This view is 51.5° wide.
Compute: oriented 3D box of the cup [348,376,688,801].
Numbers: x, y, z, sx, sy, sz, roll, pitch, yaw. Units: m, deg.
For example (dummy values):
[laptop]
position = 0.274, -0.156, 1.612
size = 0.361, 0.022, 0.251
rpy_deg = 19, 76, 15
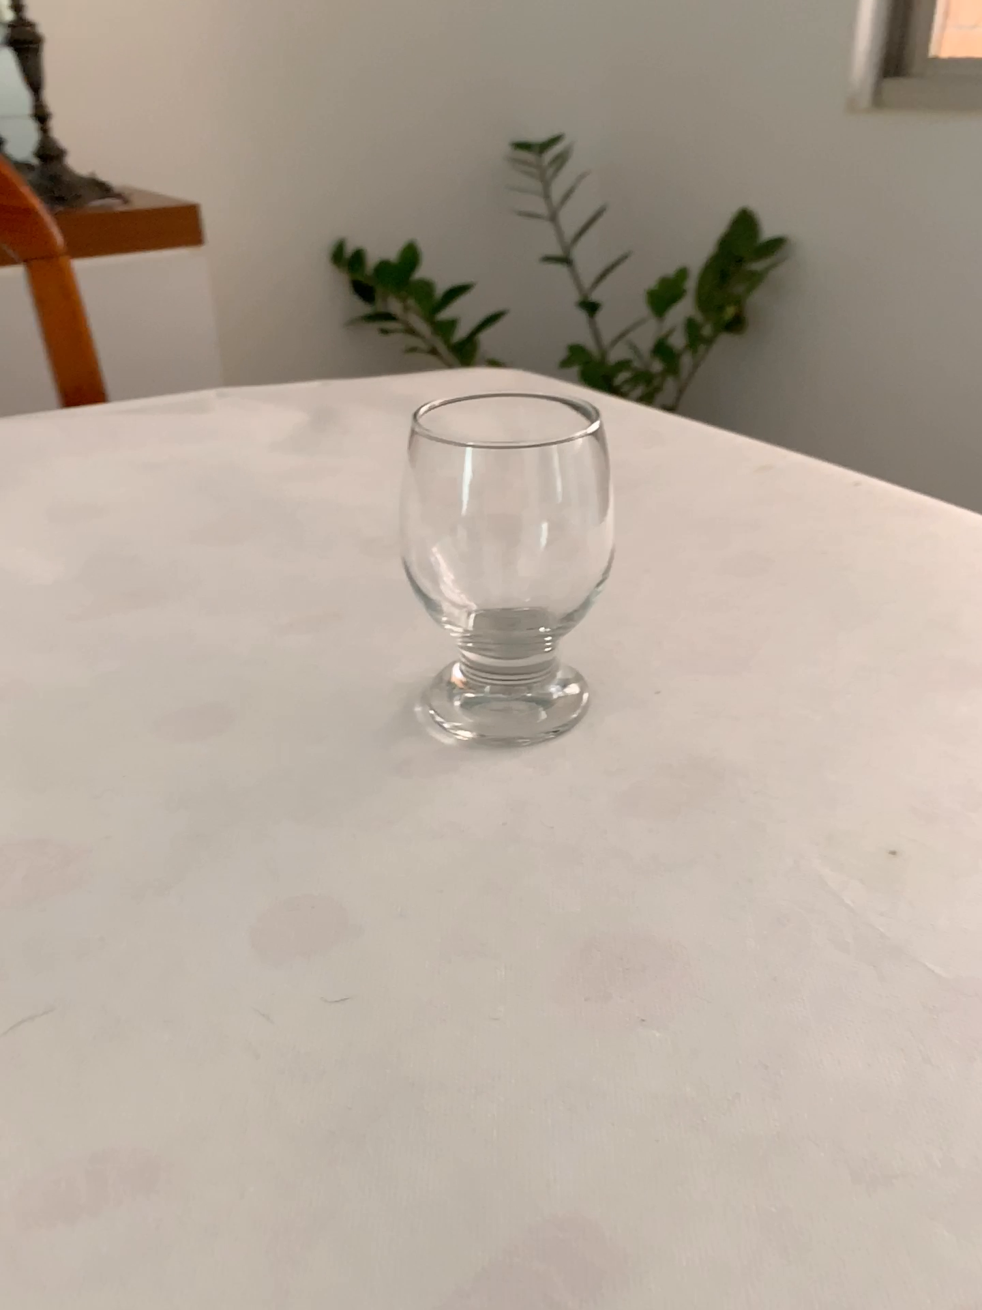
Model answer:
[cup]
position = 0.008, -0.028, 0.360
size = 0.080, 0.112, 0.080
rpy_deg = -1, 29, 0
